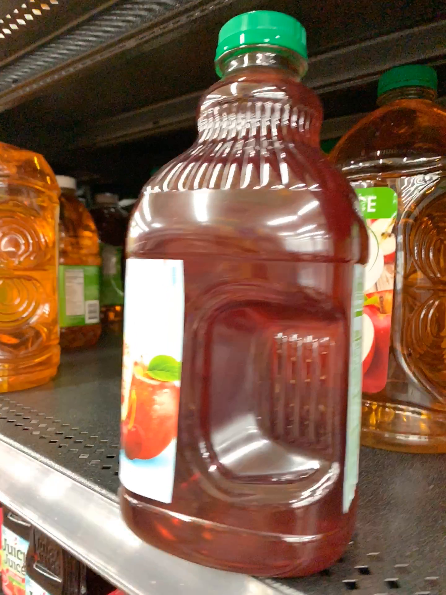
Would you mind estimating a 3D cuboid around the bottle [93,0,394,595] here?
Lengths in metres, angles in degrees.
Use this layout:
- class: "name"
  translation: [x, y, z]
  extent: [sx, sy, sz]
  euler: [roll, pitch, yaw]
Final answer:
- class: "bottle"
  translation: [0.014, -0.010, 0.235]
  extent: [0.110, 0.250, 0.120]
  euler: [0, 4, 0]
